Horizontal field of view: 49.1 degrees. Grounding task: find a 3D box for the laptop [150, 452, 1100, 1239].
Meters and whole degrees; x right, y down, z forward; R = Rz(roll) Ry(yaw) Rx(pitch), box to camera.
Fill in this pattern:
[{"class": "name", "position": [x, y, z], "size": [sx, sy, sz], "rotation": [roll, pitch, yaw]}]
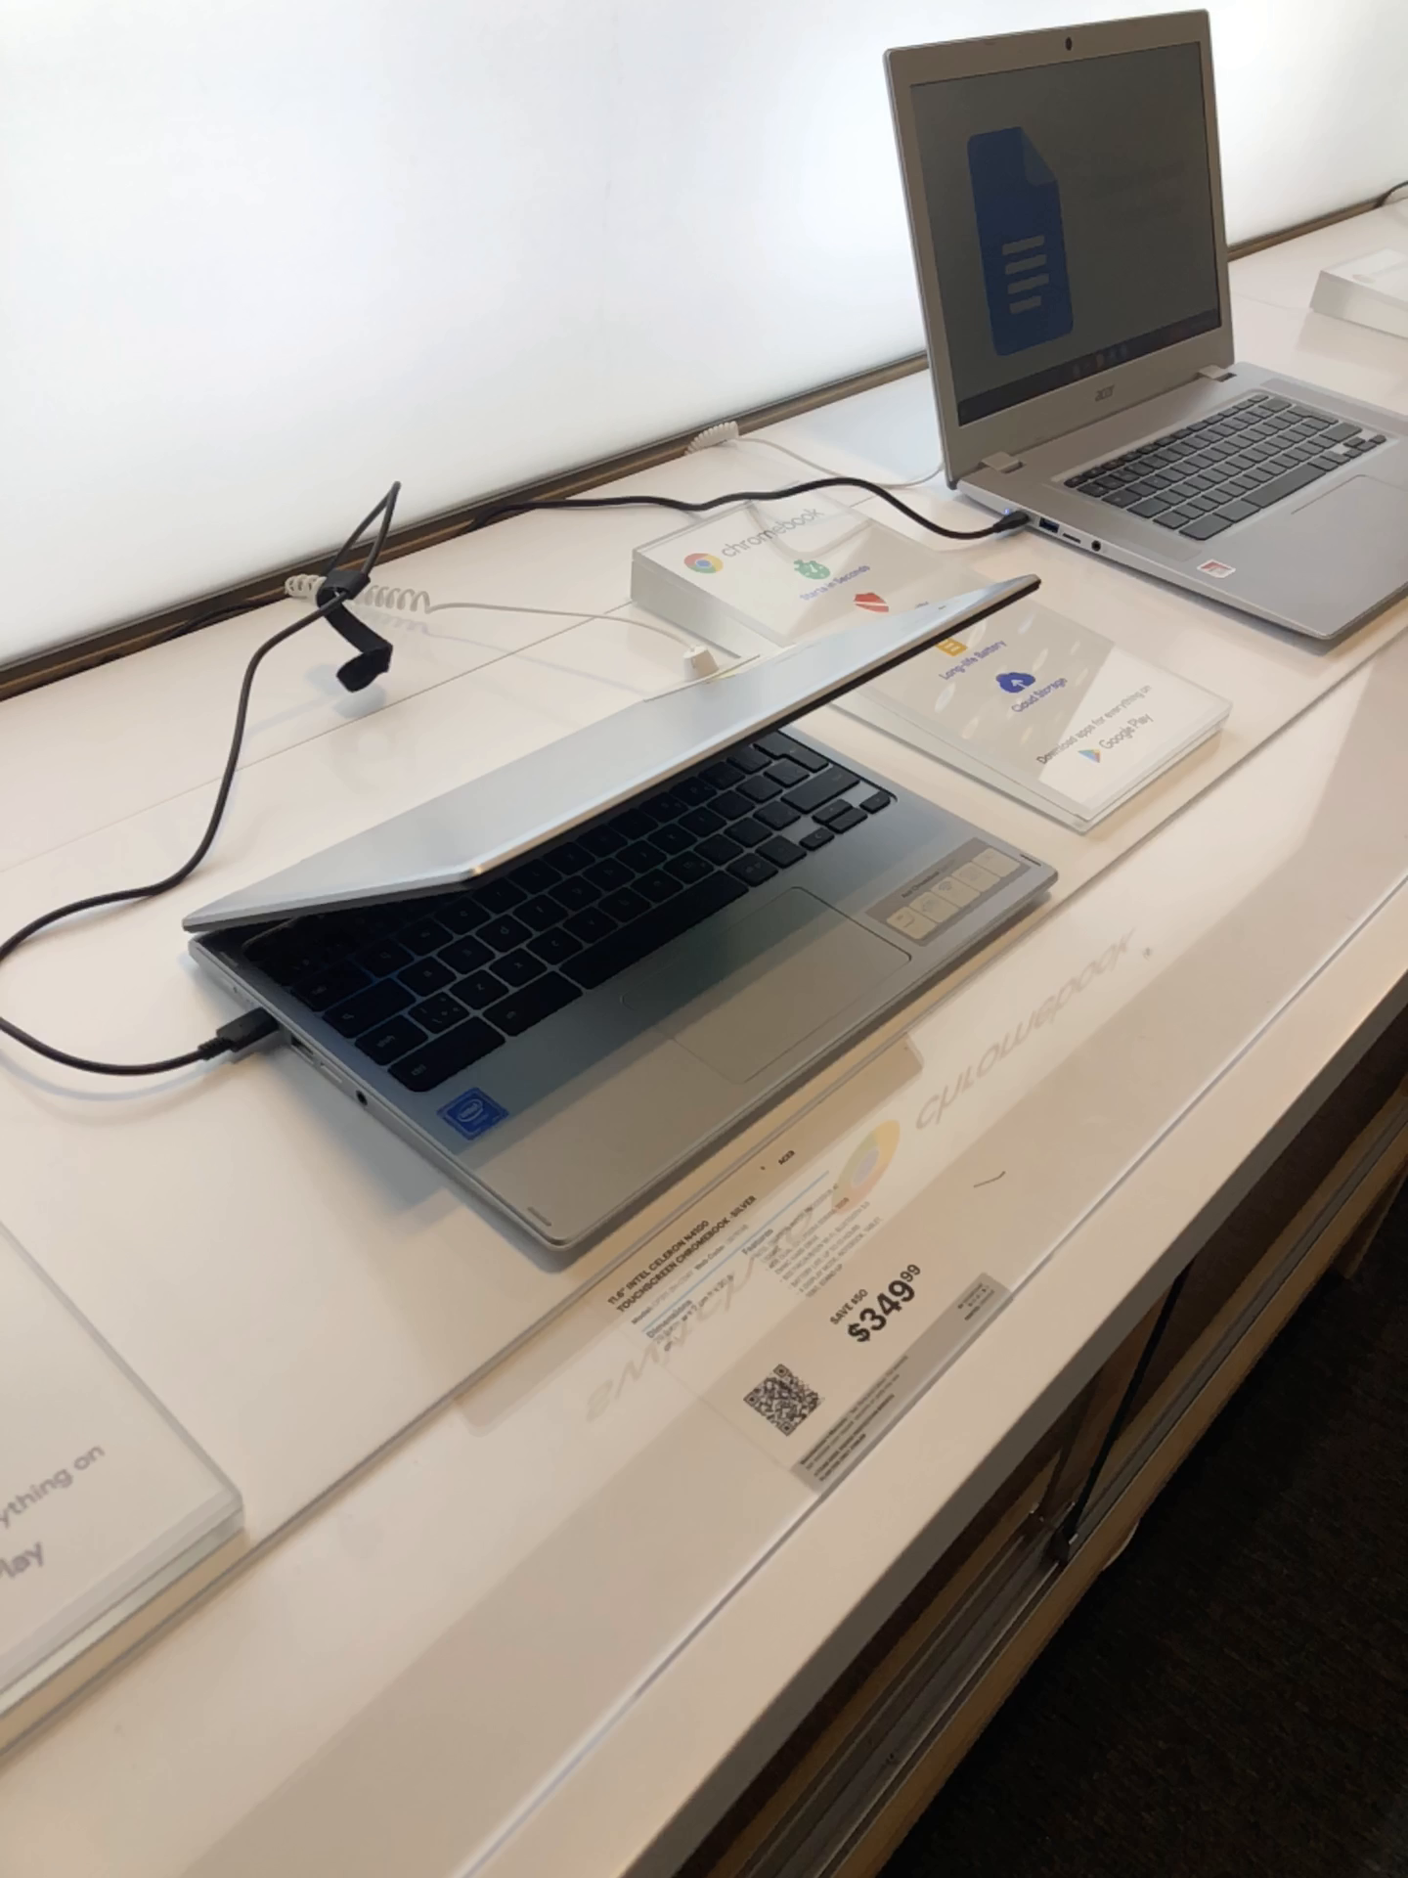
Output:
[{"class": "laptop", "position": [-0.020, -0.059, 0.574], "size": [0.192, 0.123, 0.280], "rotation": [32, 45, 29]}]
